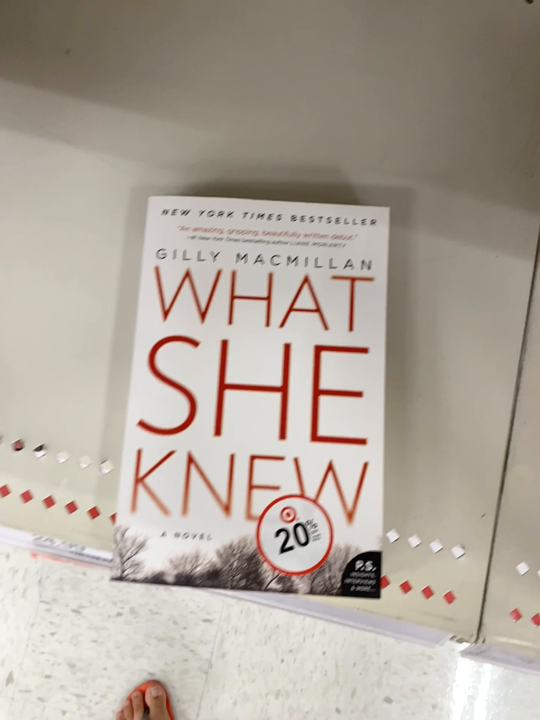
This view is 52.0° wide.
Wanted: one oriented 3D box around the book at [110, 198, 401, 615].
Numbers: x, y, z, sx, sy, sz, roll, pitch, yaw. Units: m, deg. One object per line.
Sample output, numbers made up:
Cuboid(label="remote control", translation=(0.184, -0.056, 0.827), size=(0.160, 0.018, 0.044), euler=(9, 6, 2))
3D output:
Cuboid(label="book", translation=(-0.002, 0.019, 0.291), size=(0.130, 0.041, 0.197), euler=(3, 79, 0))
